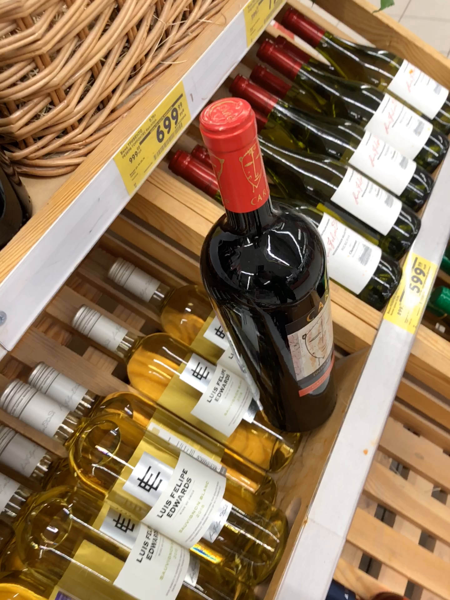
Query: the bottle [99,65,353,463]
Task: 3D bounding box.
[{"bbox_3d":[0.036,0.007,0.414,0.100,0.358,0.100,-8,51,10],"label":"bottle"}]
